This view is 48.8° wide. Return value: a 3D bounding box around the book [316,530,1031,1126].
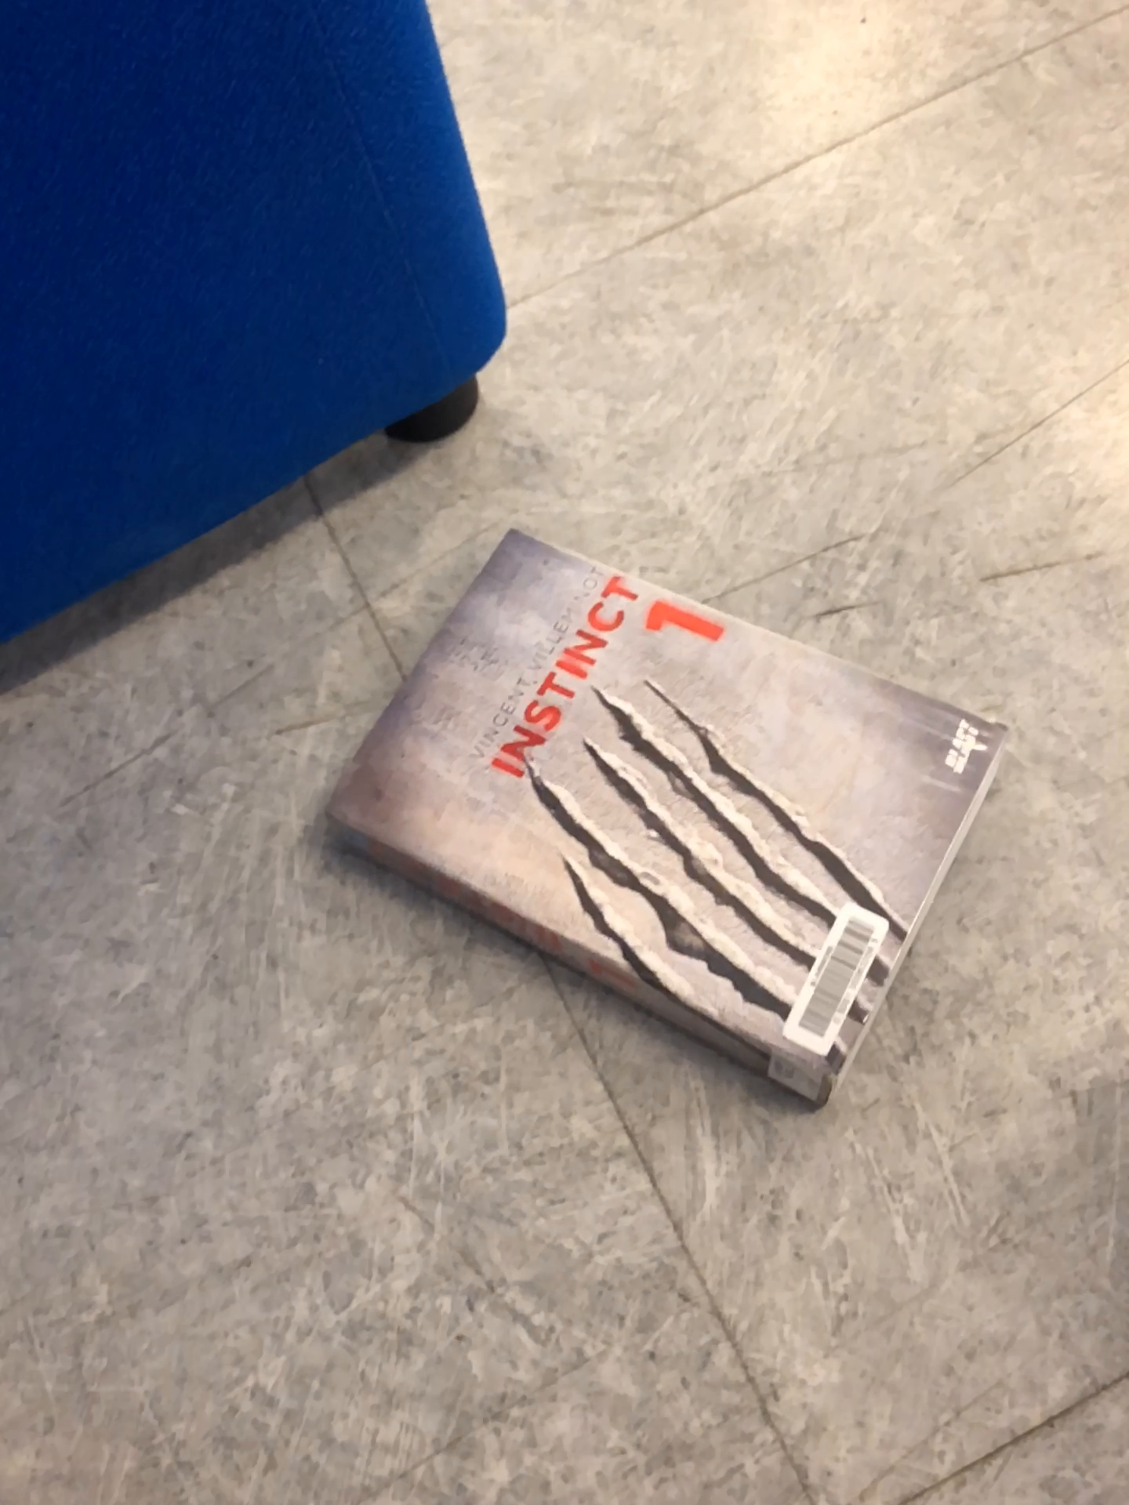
[{"bbox_3d":[0.037,0.017,0.452,0.210,0.028,0.142,25,71,20],"label":"book"}]
